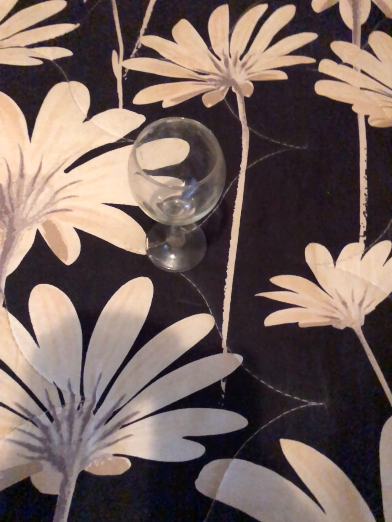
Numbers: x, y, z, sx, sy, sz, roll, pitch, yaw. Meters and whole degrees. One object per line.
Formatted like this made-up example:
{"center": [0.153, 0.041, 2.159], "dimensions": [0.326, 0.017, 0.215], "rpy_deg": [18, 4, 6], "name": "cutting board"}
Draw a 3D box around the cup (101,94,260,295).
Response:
{"center": [-0.013, -0.048, 0.371], "dimensions": [0.084, 0.139, 0.082], "rpy_deg": [1, 66, -3], "name": "cup"}
